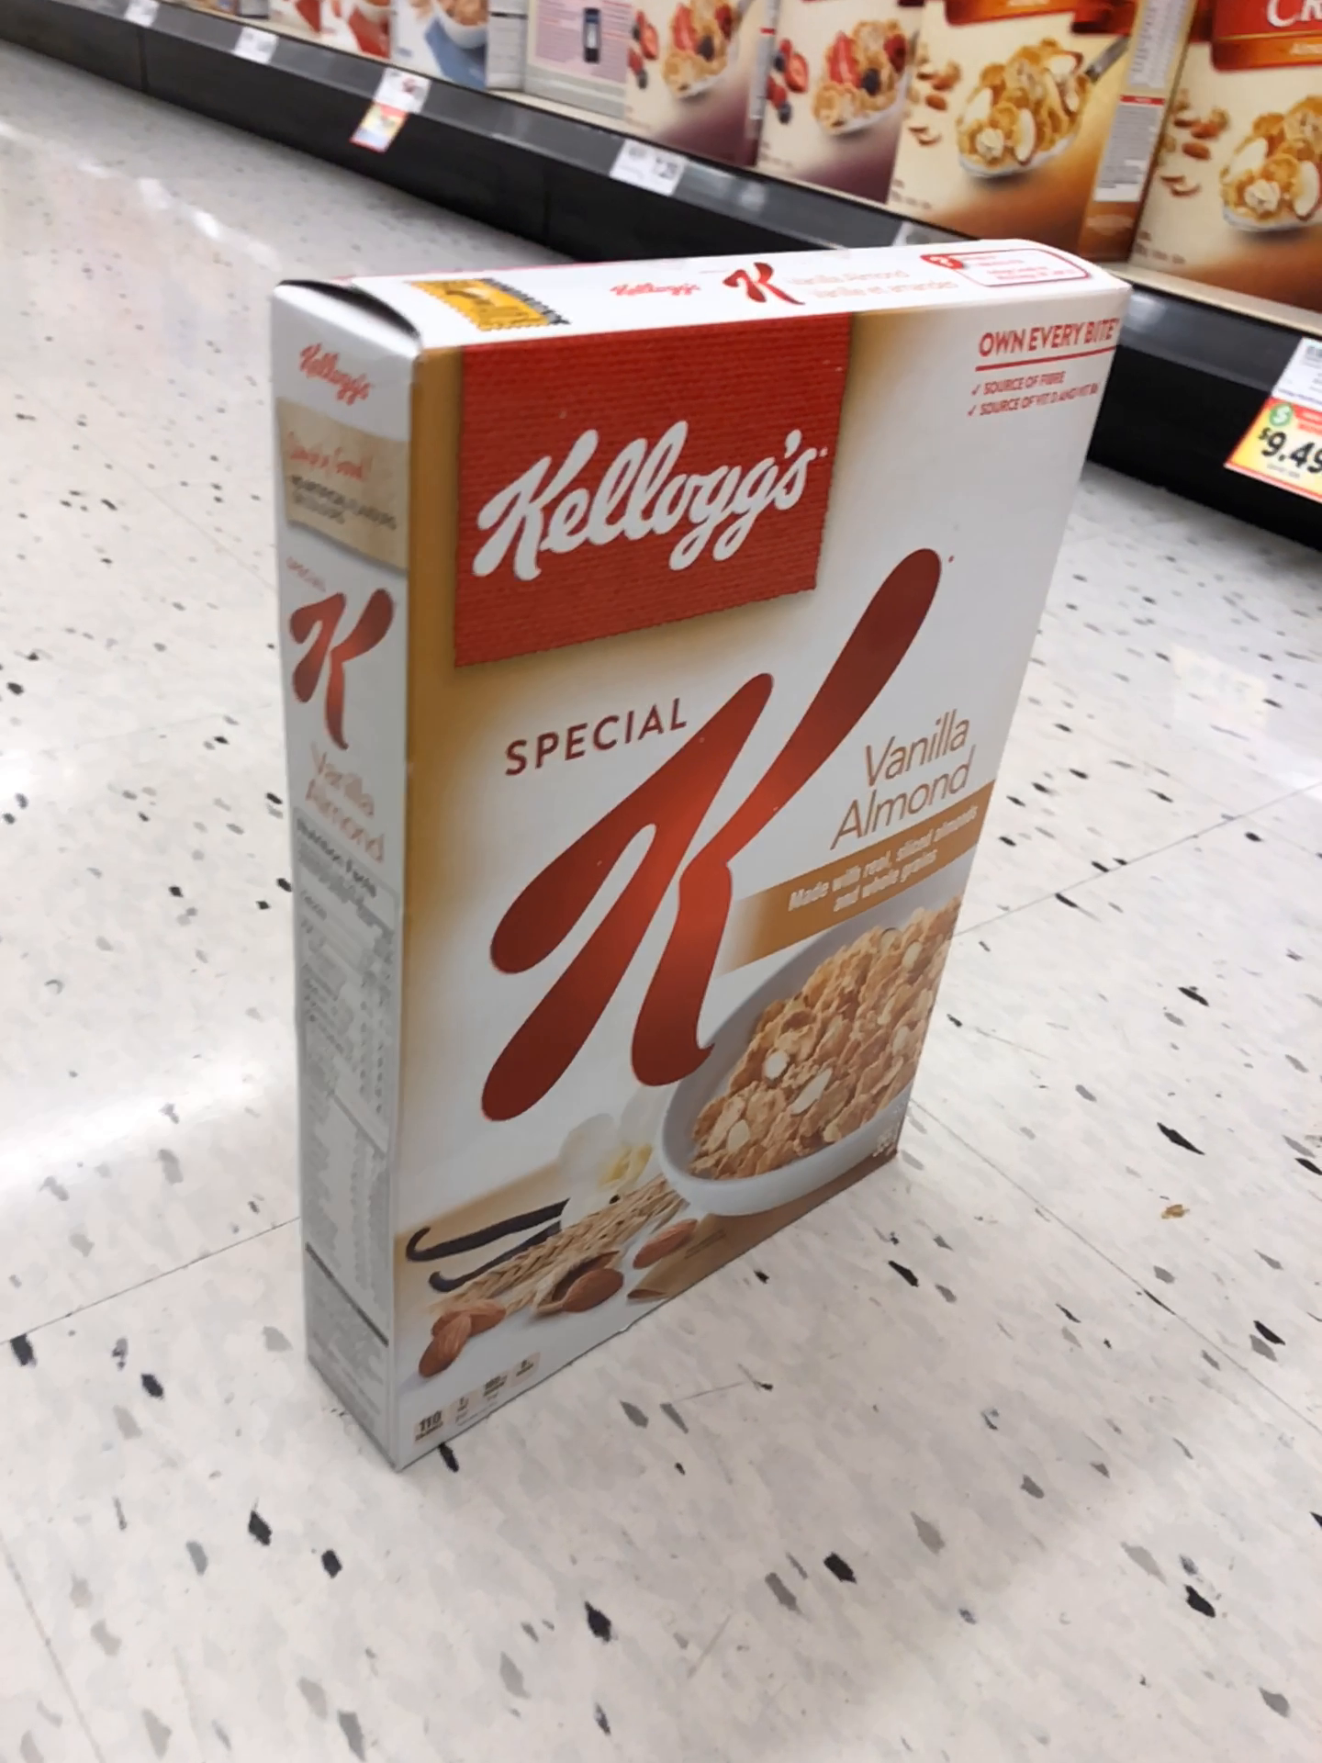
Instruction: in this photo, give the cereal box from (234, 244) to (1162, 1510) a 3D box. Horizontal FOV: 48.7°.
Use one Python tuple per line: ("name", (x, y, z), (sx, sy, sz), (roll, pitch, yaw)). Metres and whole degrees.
("cereal box", (0.009, -0.006, 0.346), (0.201, 0.258, 0.050), (-21, 41, -38))
